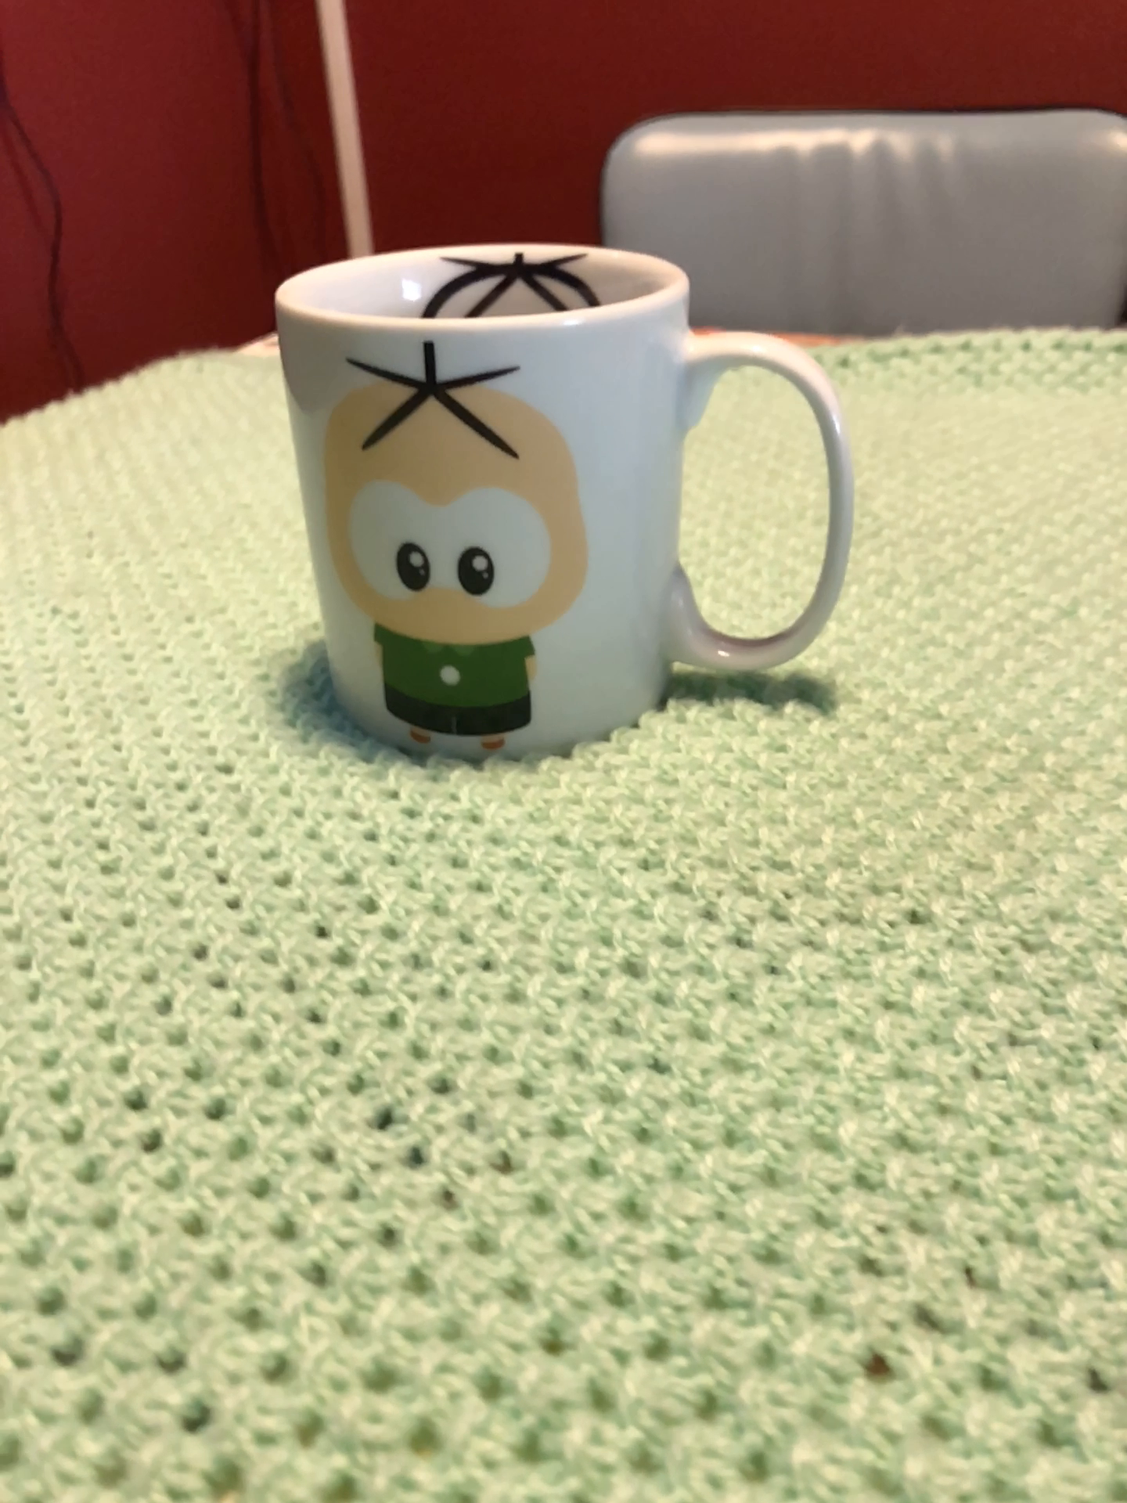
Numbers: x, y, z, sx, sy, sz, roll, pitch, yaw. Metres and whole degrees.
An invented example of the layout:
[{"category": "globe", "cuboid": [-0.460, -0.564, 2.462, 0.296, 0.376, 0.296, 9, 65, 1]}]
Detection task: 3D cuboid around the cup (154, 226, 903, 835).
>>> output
[{"category": "cup", "cuboid": [0.001, -0.056, 0.279, 0.130, 0.099, 0.091, 6, 31, 16]}]
